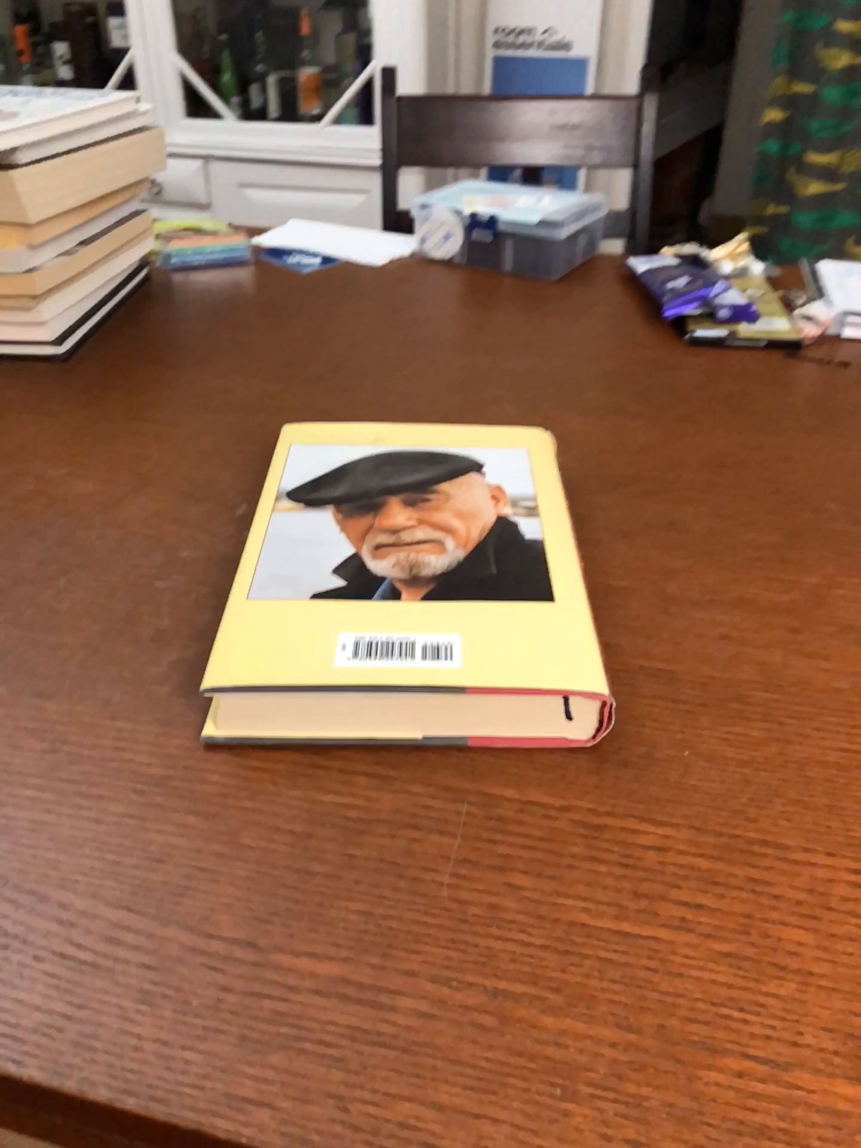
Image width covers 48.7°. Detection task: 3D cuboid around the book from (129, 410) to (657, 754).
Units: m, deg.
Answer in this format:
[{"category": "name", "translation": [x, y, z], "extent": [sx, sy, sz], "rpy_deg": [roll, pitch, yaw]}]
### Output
[{"category": "book", "translation": [-0.012, -0.014, 0.455], "extent": [0.190, 0.030, 0.252], "rpy_deg": [0, 33, 1]}]
